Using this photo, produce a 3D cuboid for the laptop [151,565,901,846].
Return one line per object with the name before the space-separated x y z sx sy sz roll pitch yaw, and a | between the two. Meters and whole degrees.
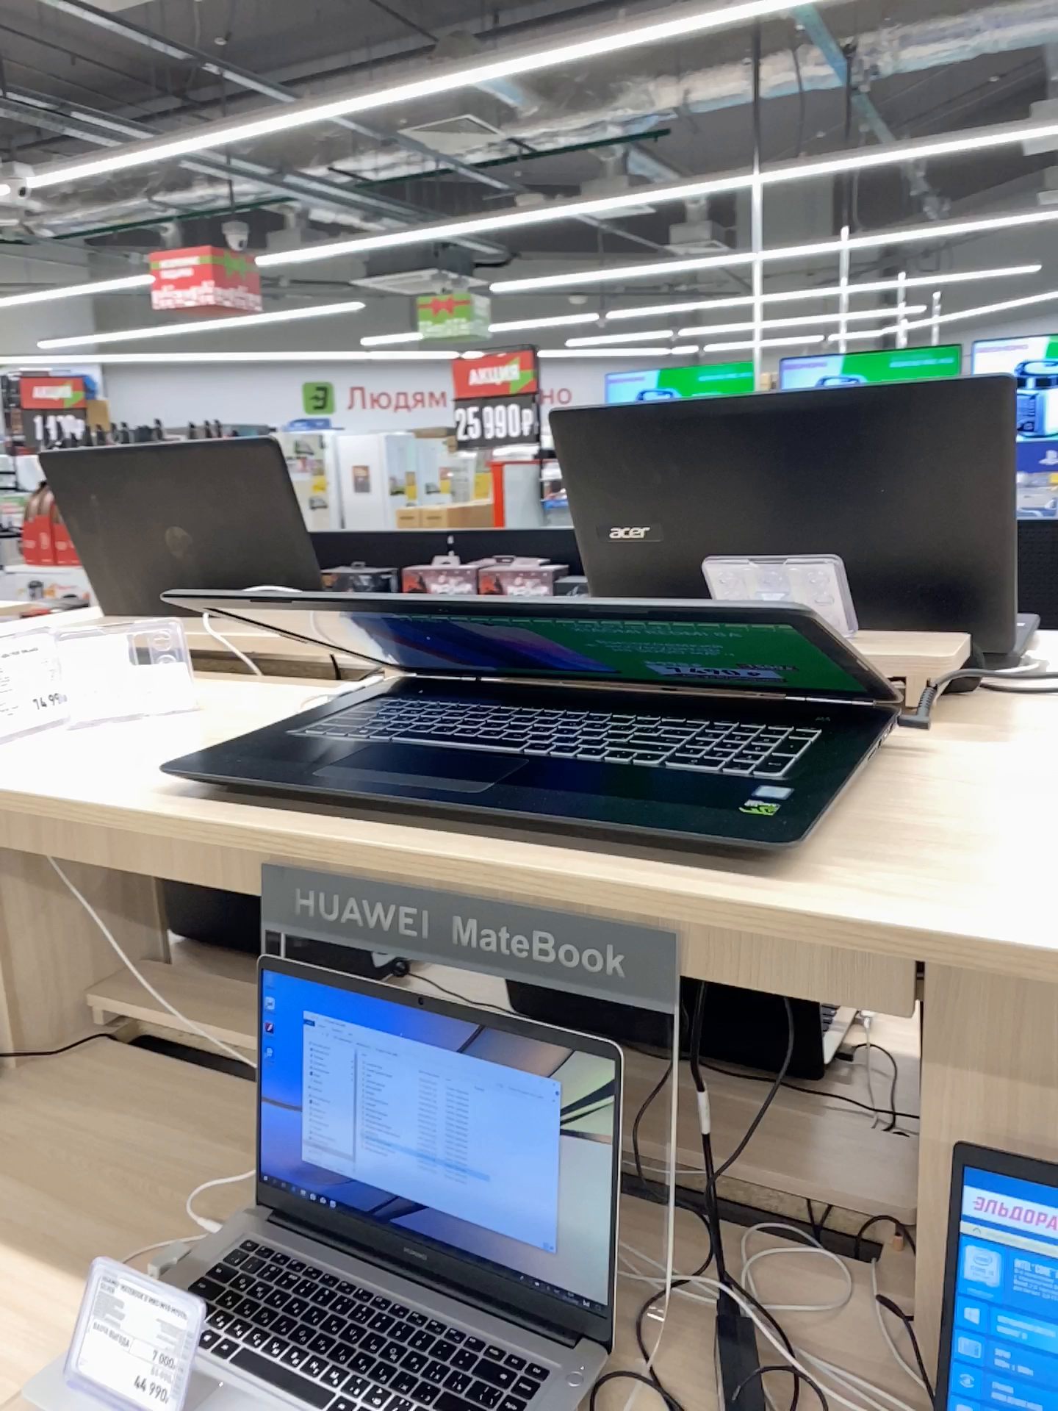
laptop | 0.004 -0.025 0.711 0.414 0.095 0.269 4 15 29
